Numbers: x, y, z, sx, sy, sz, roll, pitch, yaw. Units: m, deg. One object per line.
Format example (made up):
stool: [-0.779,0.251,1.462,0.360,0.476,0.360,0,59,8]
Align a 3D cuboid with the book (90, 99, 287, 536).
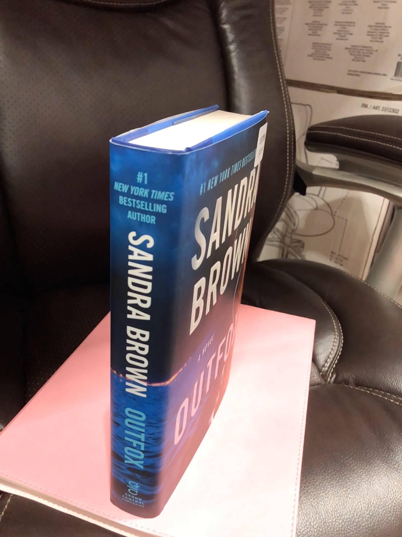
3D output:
book: [-0.005,0.019,0.294,0.048,0.228,0.168,15,28,14]
